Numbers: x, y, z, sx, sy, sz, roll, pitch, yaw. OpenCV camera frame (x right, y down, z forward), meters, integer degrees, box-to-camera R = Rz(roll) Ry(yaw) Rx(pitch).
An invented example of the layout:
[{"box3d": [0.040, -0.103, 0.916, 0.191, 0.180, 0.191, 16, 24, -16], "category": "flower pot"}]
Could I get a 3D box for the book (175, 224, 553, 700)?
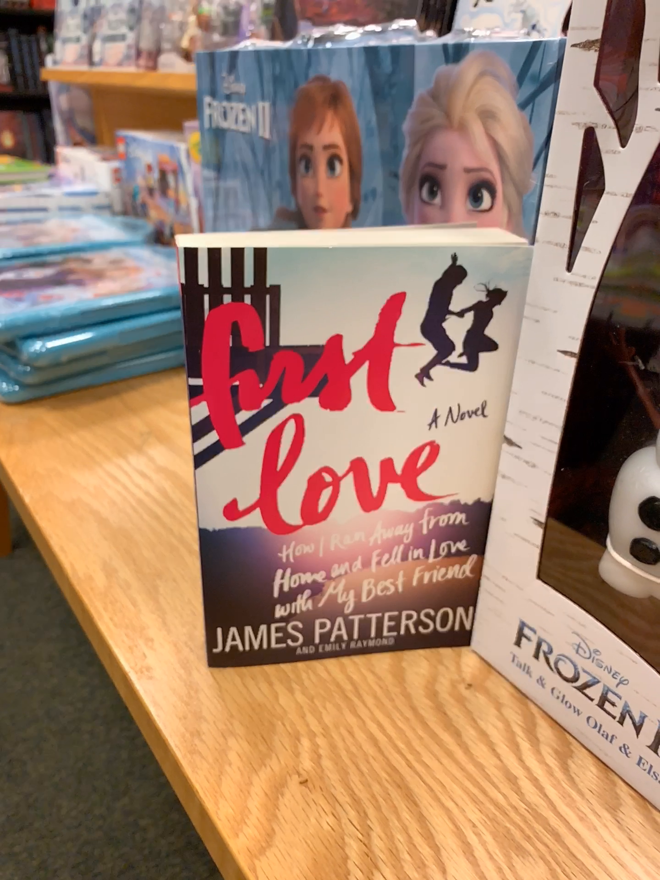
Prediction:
[{"box3d": [0.008, 0.011, 0.320, 0.142, 0.205, 0.059, -4, 25, -11], "category": "book"}]
